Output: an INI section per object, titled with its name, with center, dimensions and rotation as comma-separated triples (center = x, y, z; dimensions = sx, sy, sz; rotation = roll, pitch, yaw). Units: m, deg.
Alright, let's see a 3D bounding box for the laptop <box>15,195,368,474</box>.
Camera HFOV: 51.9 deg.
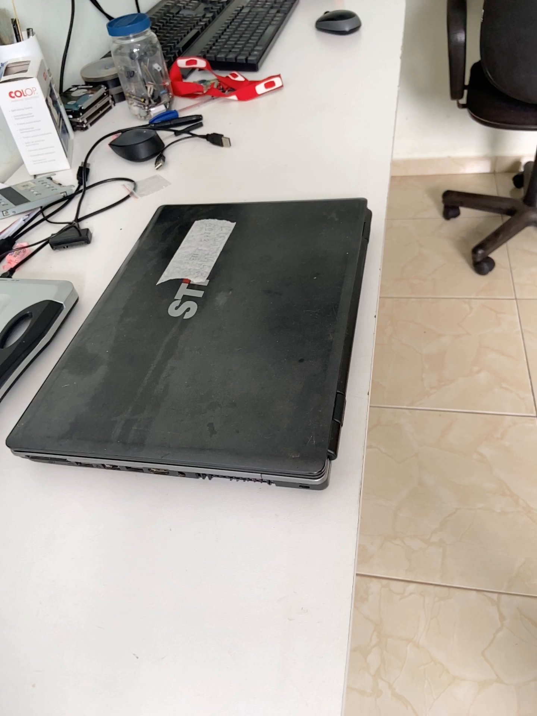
[laptop]
center = -0.043, -0.052, 0.501
dimensions = 0.234, 0.006, 0.339
rotation = 2, 46, 15
